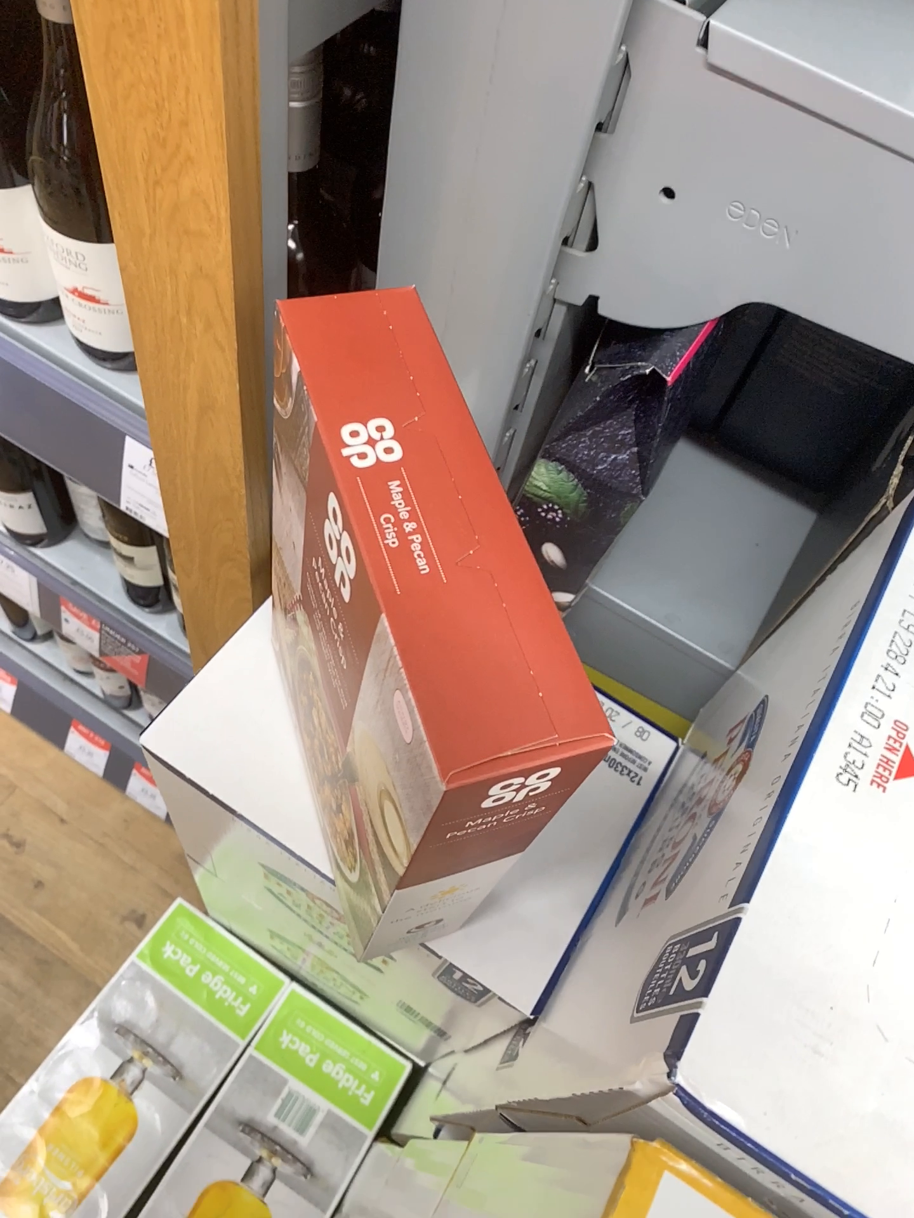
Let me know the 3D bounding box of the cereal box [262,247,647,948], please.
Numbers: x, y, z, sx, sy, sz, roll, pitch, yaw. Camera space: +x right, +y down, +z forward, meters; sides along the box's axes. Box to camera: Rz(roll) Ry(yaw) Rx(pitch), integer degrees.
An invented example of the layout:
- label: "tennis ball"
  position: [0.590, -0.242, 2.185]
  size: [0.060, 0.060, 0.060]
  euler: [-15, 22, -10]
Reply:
- label: "cereal box"
  position: [-0.029, 0.016, 0.388]
  size: [0.060, 0.248, 0.181]
  euler: [-13, 63, -18]
